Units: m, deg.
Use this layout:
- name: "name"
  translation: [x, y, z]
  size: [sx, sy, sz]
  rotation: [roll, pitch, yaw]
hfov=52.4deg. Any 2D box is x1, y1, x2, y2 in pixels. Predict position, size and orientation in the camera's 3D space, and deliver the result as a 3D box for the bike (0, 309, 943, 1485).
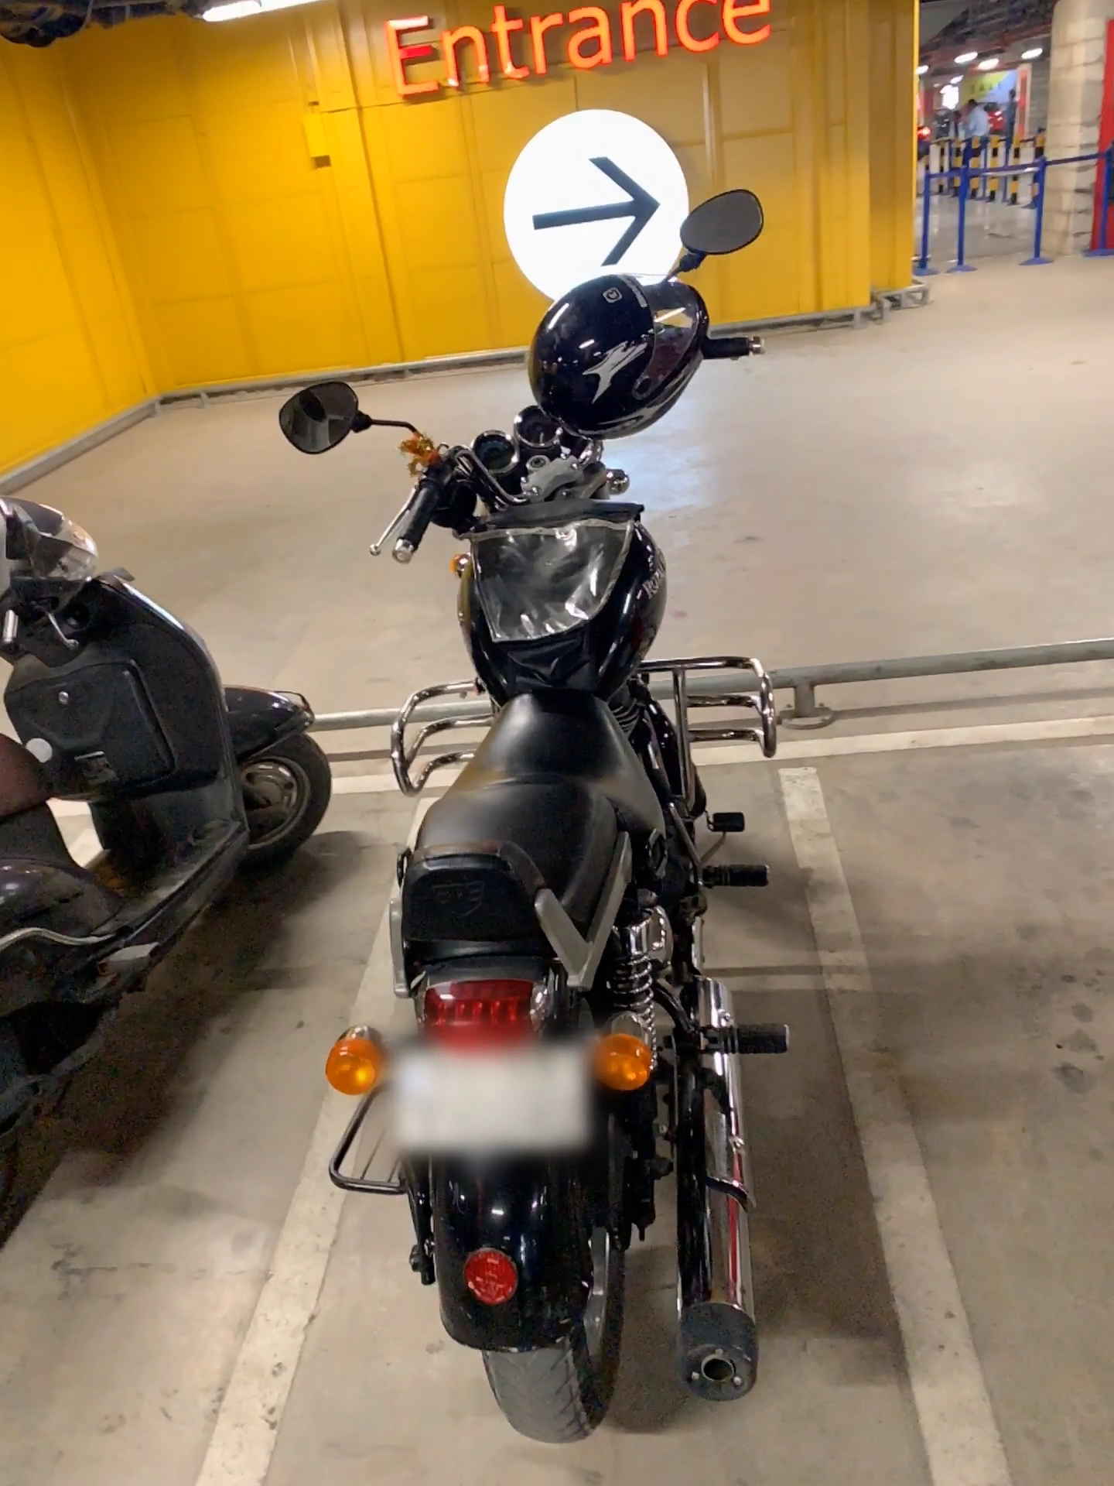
- name: "bike"
  translation: [-0.048, -0.002, 2.104]
  size: [0.828, 1.229, 2.086]
  rotation: [-6, 26, 4]
